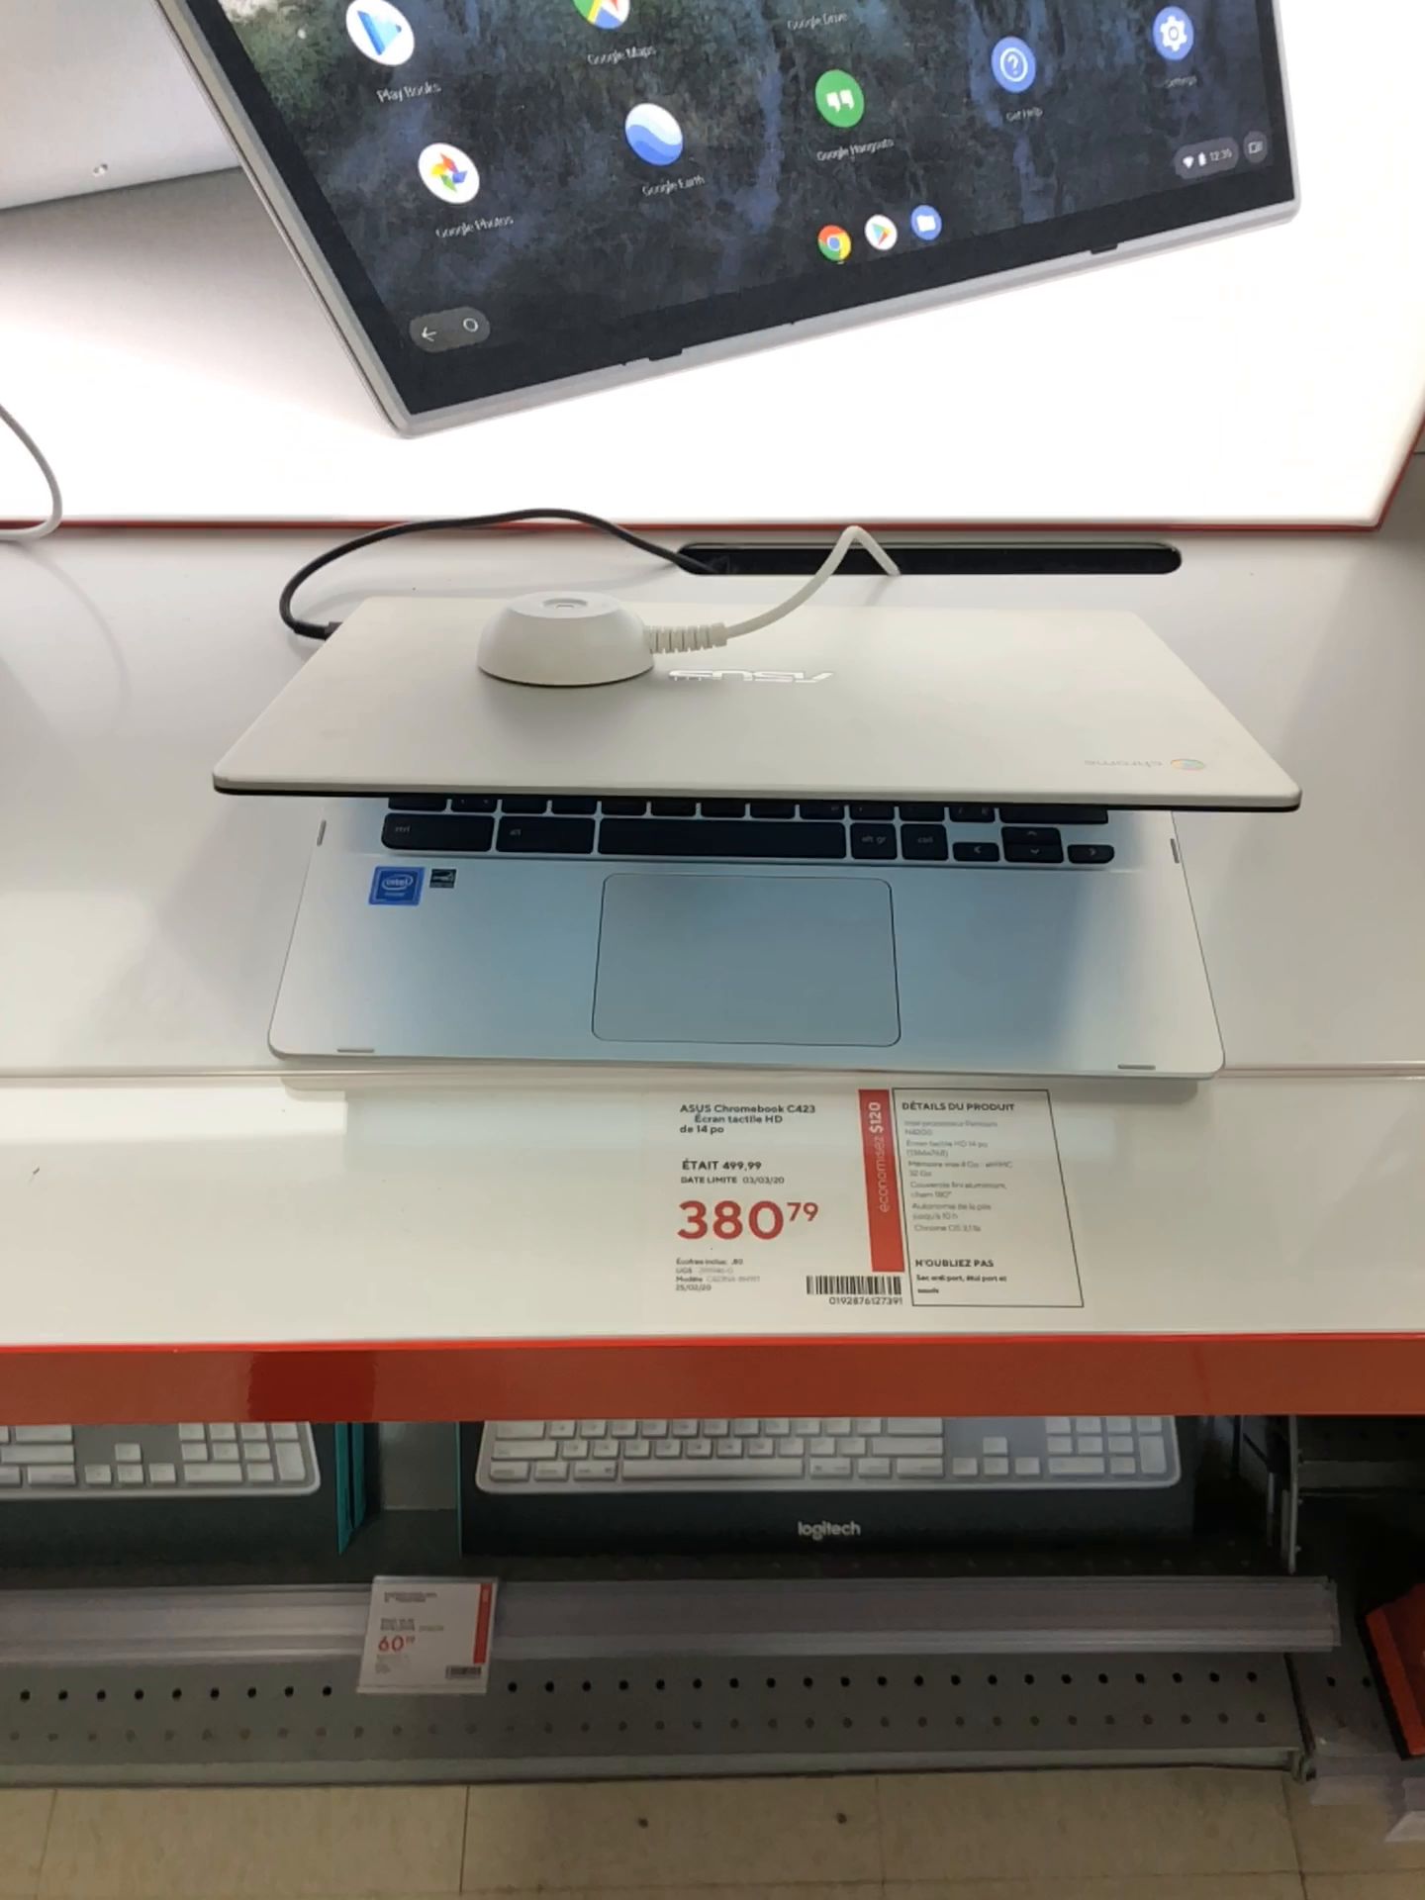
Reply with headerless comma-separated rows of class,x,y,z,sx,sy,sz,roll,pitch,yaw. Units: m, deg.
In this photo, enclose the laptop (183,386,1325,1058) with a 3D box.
laptop,0.014,-0.086,0.545,0.317,0.101,0.226,1,51,0
